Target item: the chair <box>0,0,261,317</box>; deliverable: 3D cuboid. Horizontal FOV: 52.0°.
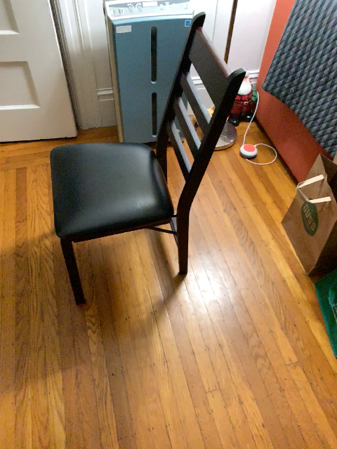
[{"bbox_3d":[-0.164,-0.177,1.112,0.550,0.866,0.492,-12,53,-12],"label":"chair"}]
